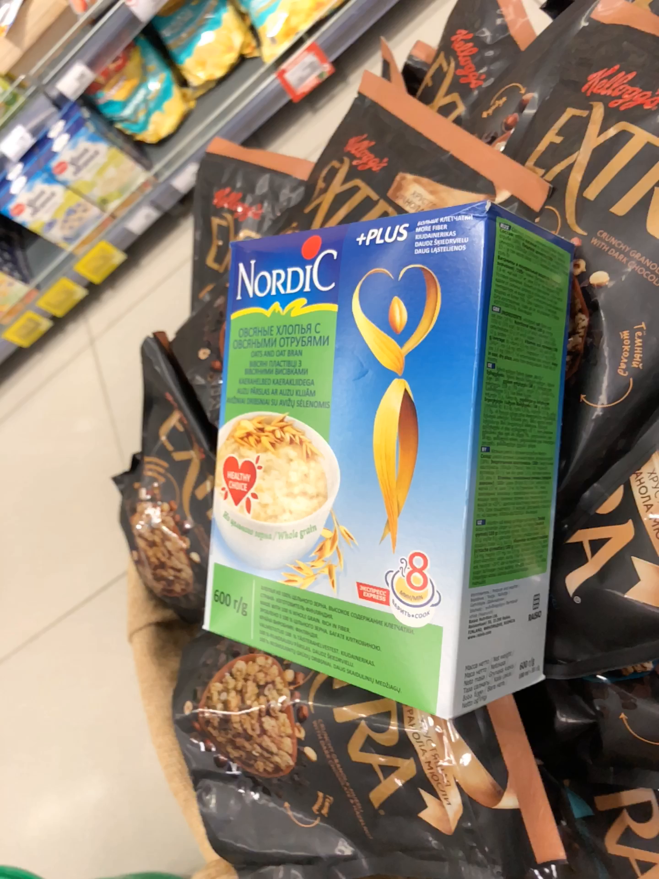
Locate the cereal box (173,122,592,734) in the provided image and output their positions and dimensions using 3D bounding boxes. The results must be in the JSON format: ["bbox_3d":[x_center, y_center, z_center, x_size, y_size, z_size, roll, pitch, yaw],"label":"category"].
[{"bbox_3d":[0.017,-0.007,0.334,0.160,0.080,0.210,5,91,43],"label":"cereal box"}]
